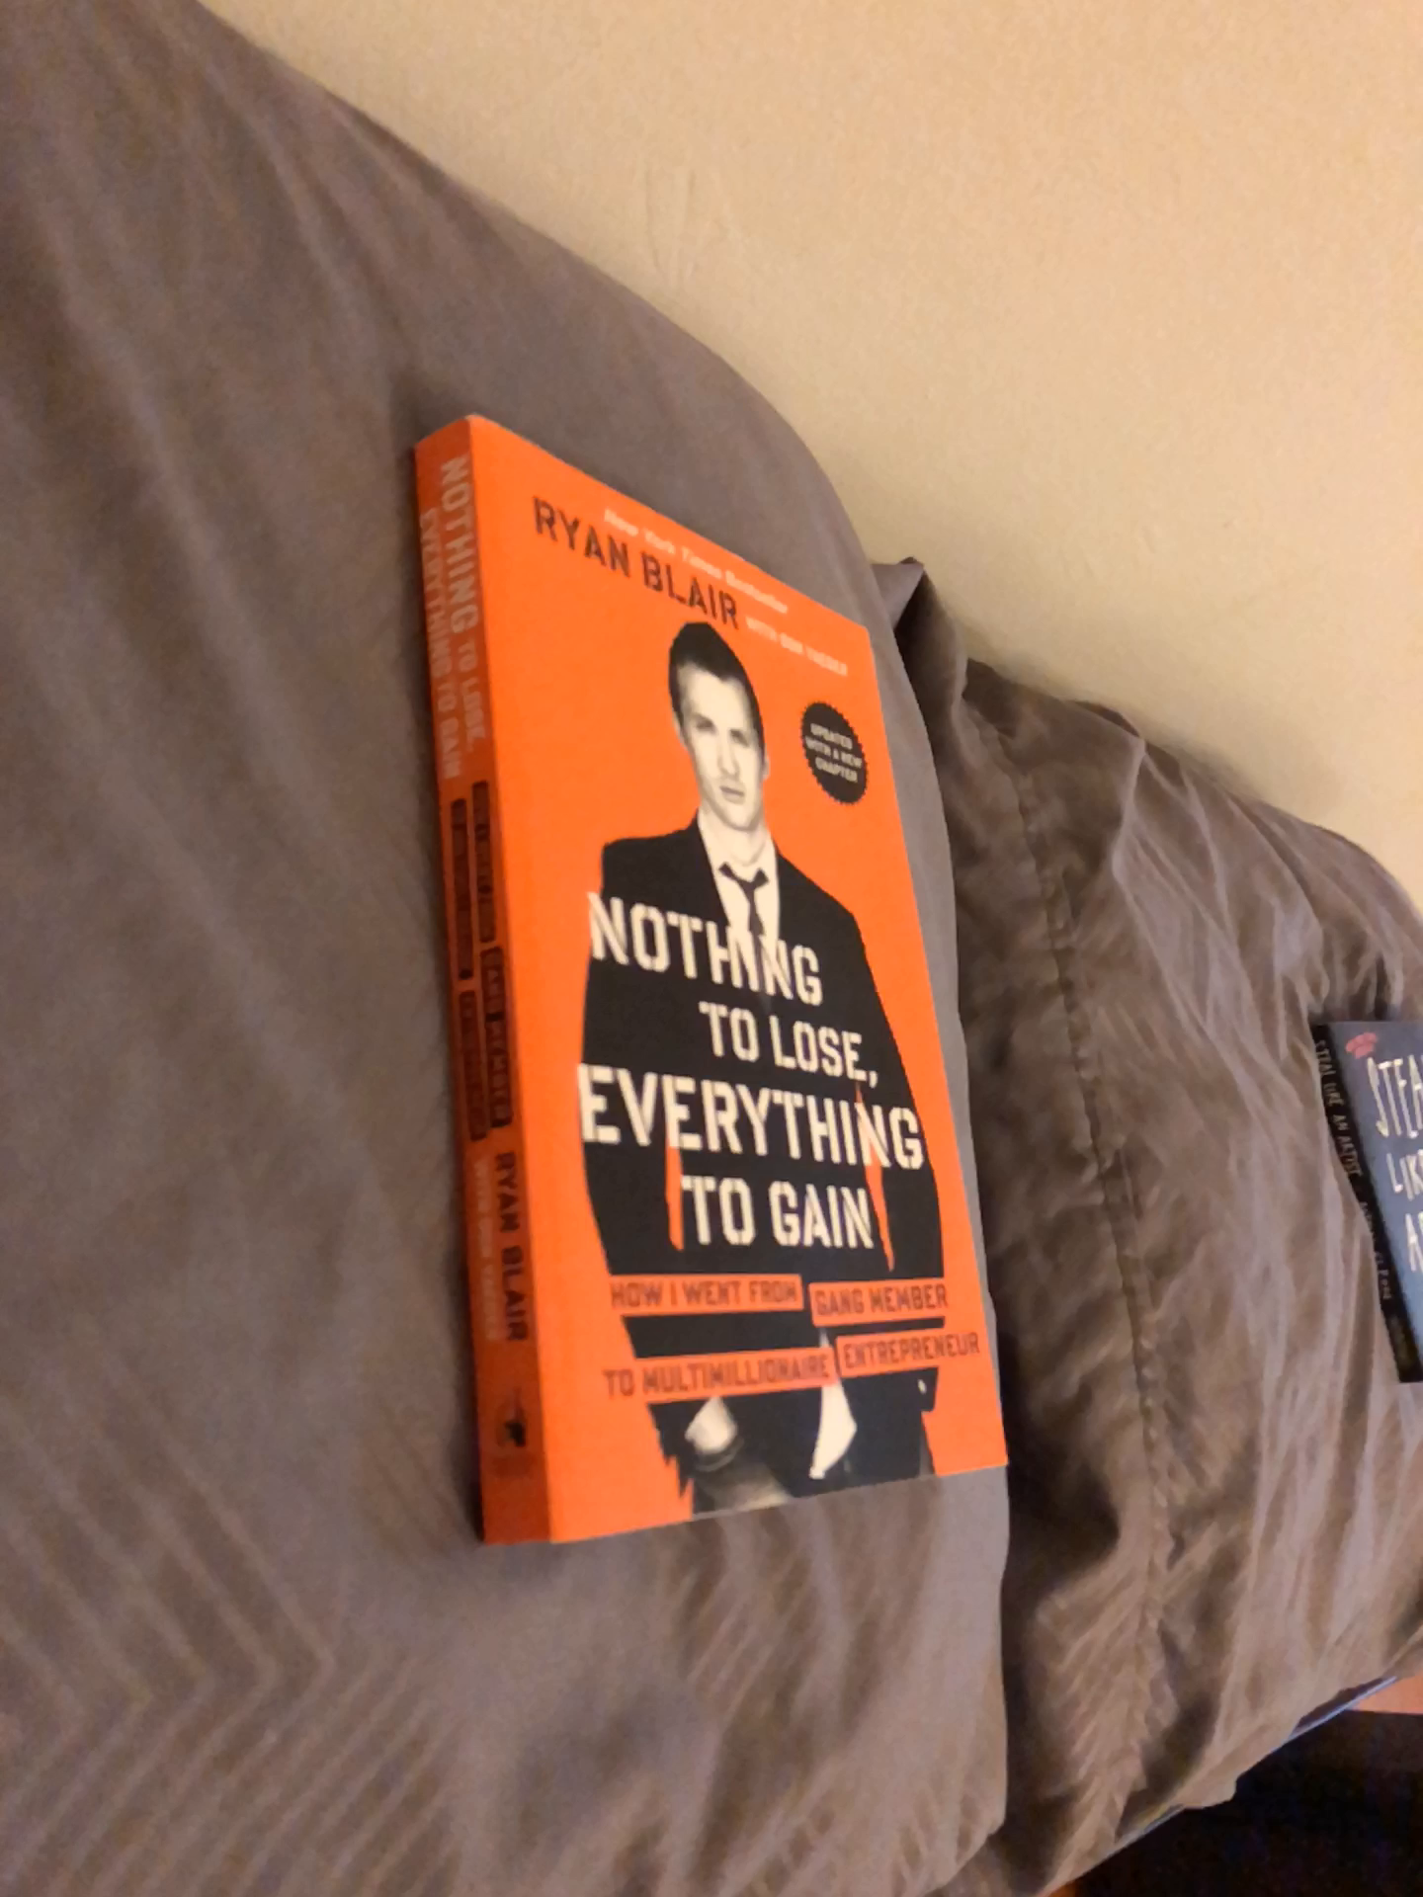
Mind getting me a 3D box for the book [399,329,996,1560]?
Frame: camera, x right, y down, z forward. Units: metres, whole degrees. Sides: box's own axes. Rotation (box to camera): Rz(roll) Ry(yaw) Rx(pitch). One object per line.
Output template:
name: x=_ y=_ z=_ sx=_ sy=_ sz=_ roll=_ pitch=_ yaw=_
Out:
book: x=0.001 y=0.001 z=0.343 sx=0.151 sy=0.020 sz=0.230 roll=16 pitch=62 yaw=-52
